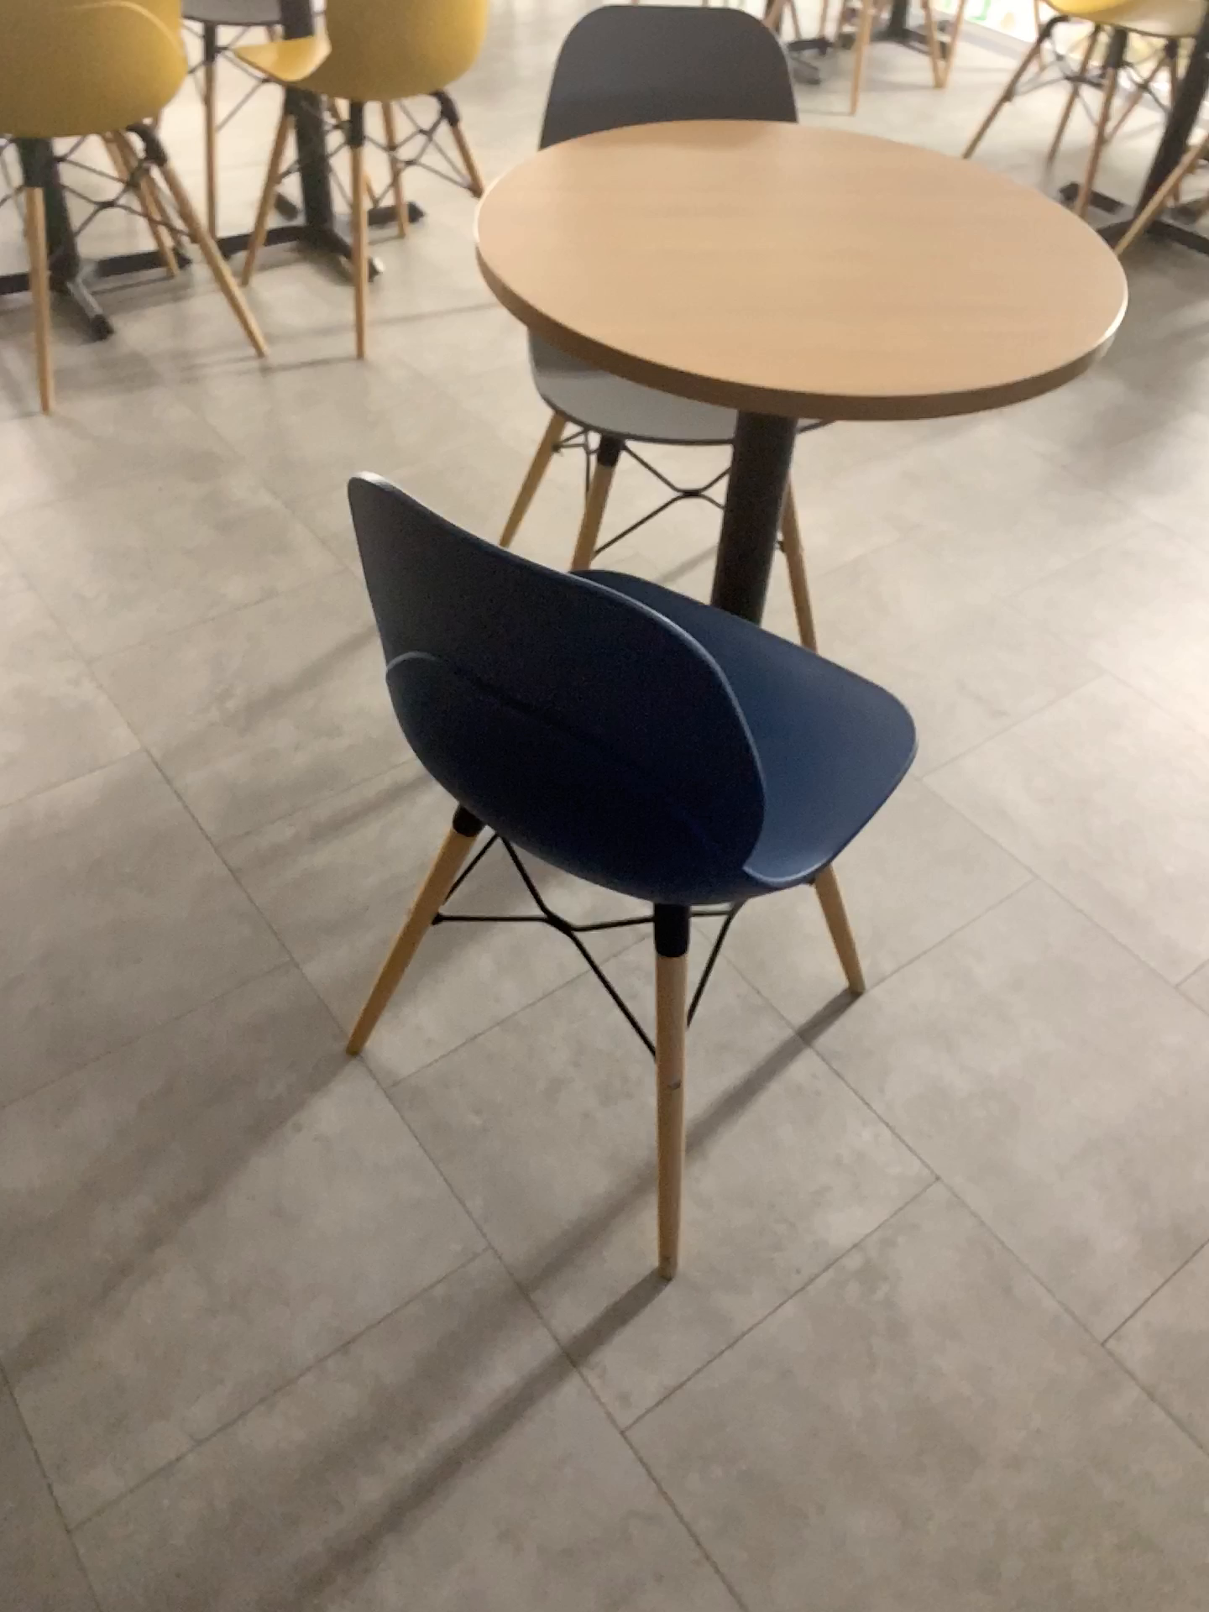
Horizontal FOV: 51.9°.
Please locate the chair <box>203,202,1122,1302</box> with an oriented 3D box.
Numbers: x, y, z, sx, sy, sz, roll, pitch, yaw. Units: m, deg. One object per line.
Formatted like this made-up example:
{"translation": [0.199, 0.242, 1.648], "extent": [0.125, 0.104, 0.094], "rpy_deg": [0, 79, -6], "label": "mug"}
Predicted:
{"translation": [0.041, -0.031, 1.209], "extent": [0.491, 0.809, 0.500], "rpy_deg": [29, 50, 22], "label": "chair"}
